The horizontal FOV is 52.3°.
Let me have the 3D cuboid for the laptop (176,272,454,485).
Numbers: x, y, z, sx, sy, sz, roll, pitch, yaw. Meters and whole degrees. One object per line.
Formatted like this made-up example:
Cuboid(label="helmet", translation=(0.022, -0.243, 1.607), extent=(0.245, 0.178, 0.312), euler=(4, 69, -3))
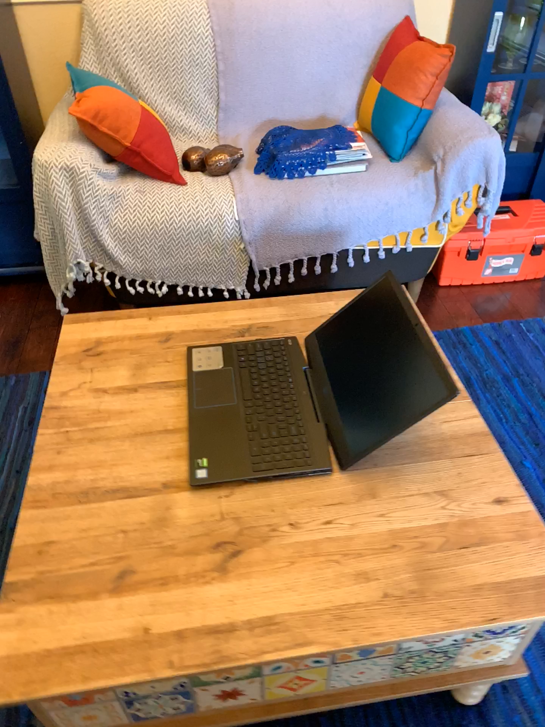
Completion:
Cuboid(label="laptop", translation=(0.047, 0.008, 1.005), extent=(0.418, 0.156, 0.347), euler=(-5, 41, -6))
